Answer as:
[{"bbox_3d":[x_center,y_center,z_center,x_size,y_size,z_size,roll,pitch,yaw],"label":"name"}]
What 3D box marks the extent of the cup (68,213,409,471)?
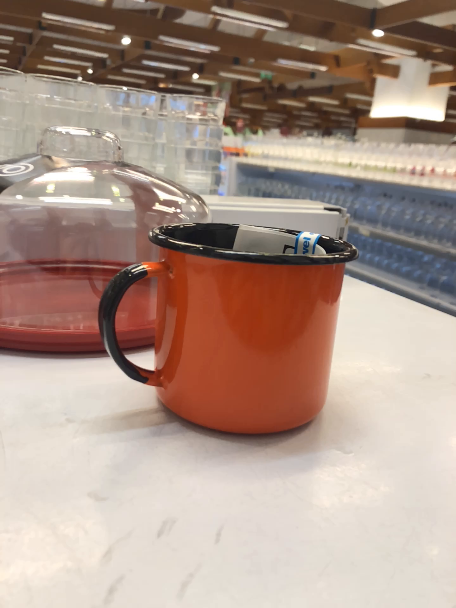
[{"bbox_3d":[-0.003,0.005,0.207,0.110,0.070,0.080,-3,17,-25],"label":"cup"}]
